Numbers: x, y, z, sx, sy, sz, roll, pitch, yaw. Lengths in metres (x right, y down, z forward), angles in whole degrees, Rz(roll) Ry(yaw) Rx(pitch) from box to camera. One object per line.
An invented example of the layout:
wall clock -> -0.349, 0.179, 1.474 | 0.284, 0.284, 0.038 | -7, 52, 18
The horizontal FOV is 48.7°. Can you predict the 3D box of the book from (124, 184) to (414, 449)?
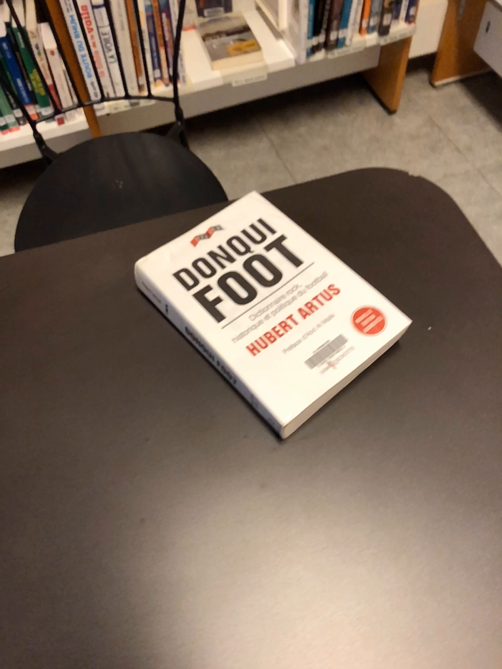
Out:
book -> 0.011, -0.028, 0.490 | 0.148, 0.042, 0.207 | -36, 63, -18
